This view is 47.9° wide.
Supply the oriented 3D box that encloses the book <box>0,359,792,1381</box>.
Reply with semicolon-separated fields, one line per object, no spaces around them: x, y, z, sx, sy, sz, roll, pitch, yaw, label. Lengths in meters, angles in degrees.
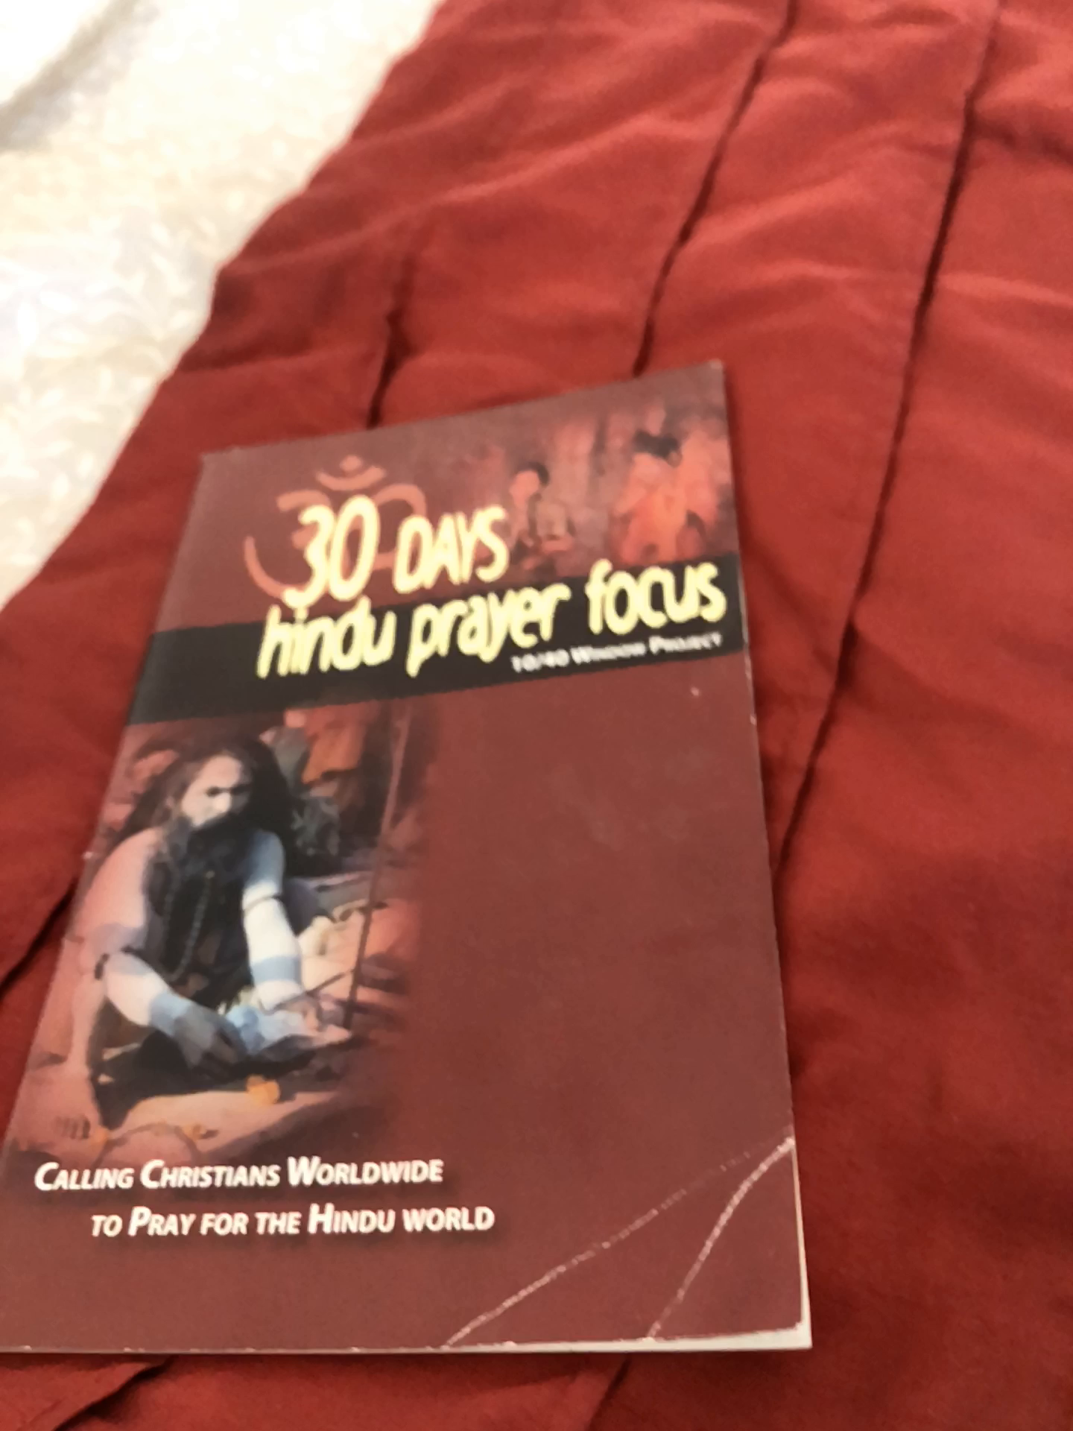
-0.032;0.011;0.239;0.141;0.010;0.211;-5;53;10;book
